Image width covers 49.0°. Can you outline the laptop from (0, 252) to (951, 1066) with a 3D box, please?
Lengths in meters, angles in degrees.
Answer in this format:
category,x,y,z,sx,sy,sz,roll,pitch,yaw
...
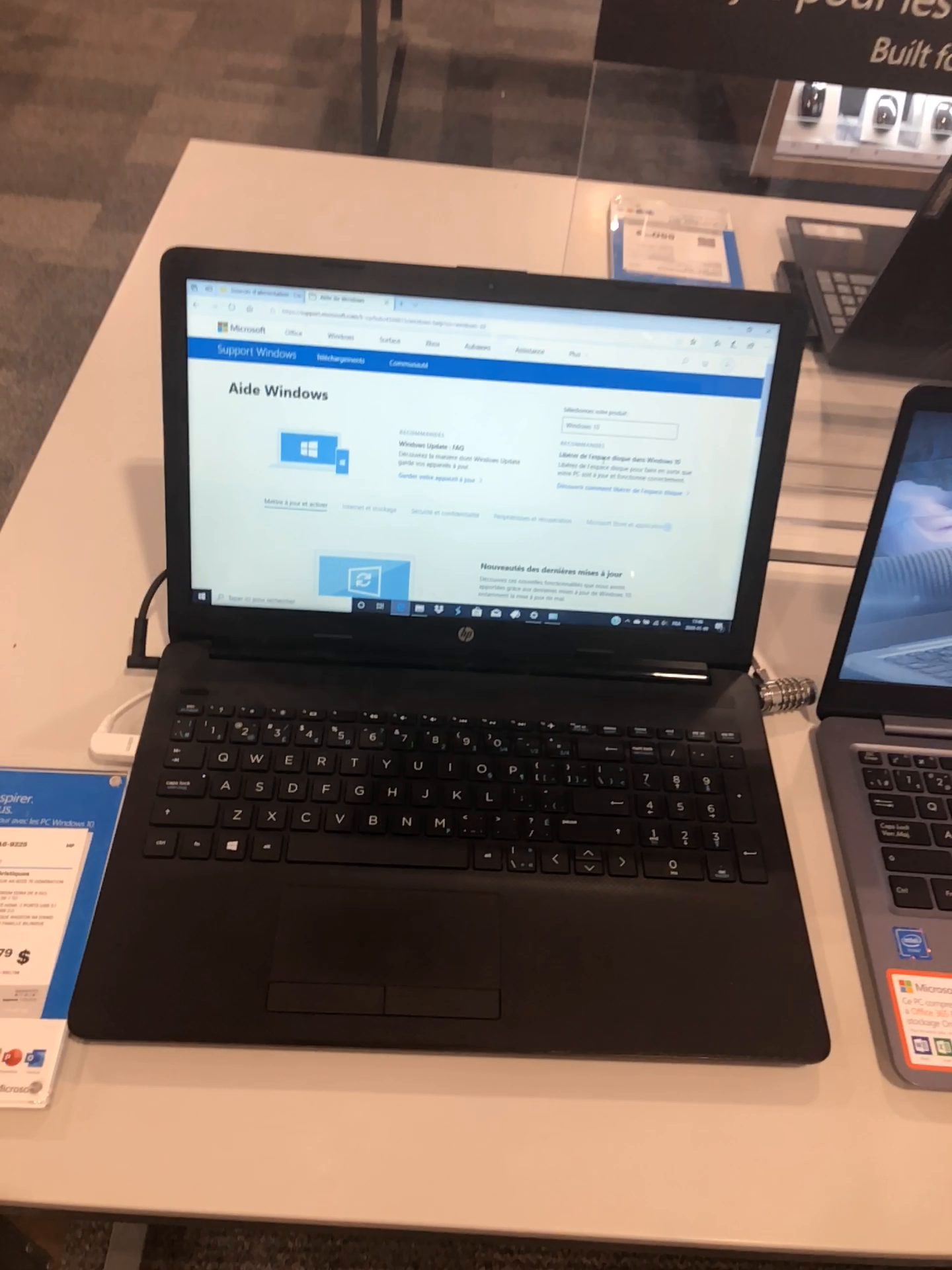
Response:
category,x,y,z,sx,sy,sz,roll,pitch,yaw
laptop,-0.003,-0.004,0.541,0.356,0.195,0.361,3,48,-2
